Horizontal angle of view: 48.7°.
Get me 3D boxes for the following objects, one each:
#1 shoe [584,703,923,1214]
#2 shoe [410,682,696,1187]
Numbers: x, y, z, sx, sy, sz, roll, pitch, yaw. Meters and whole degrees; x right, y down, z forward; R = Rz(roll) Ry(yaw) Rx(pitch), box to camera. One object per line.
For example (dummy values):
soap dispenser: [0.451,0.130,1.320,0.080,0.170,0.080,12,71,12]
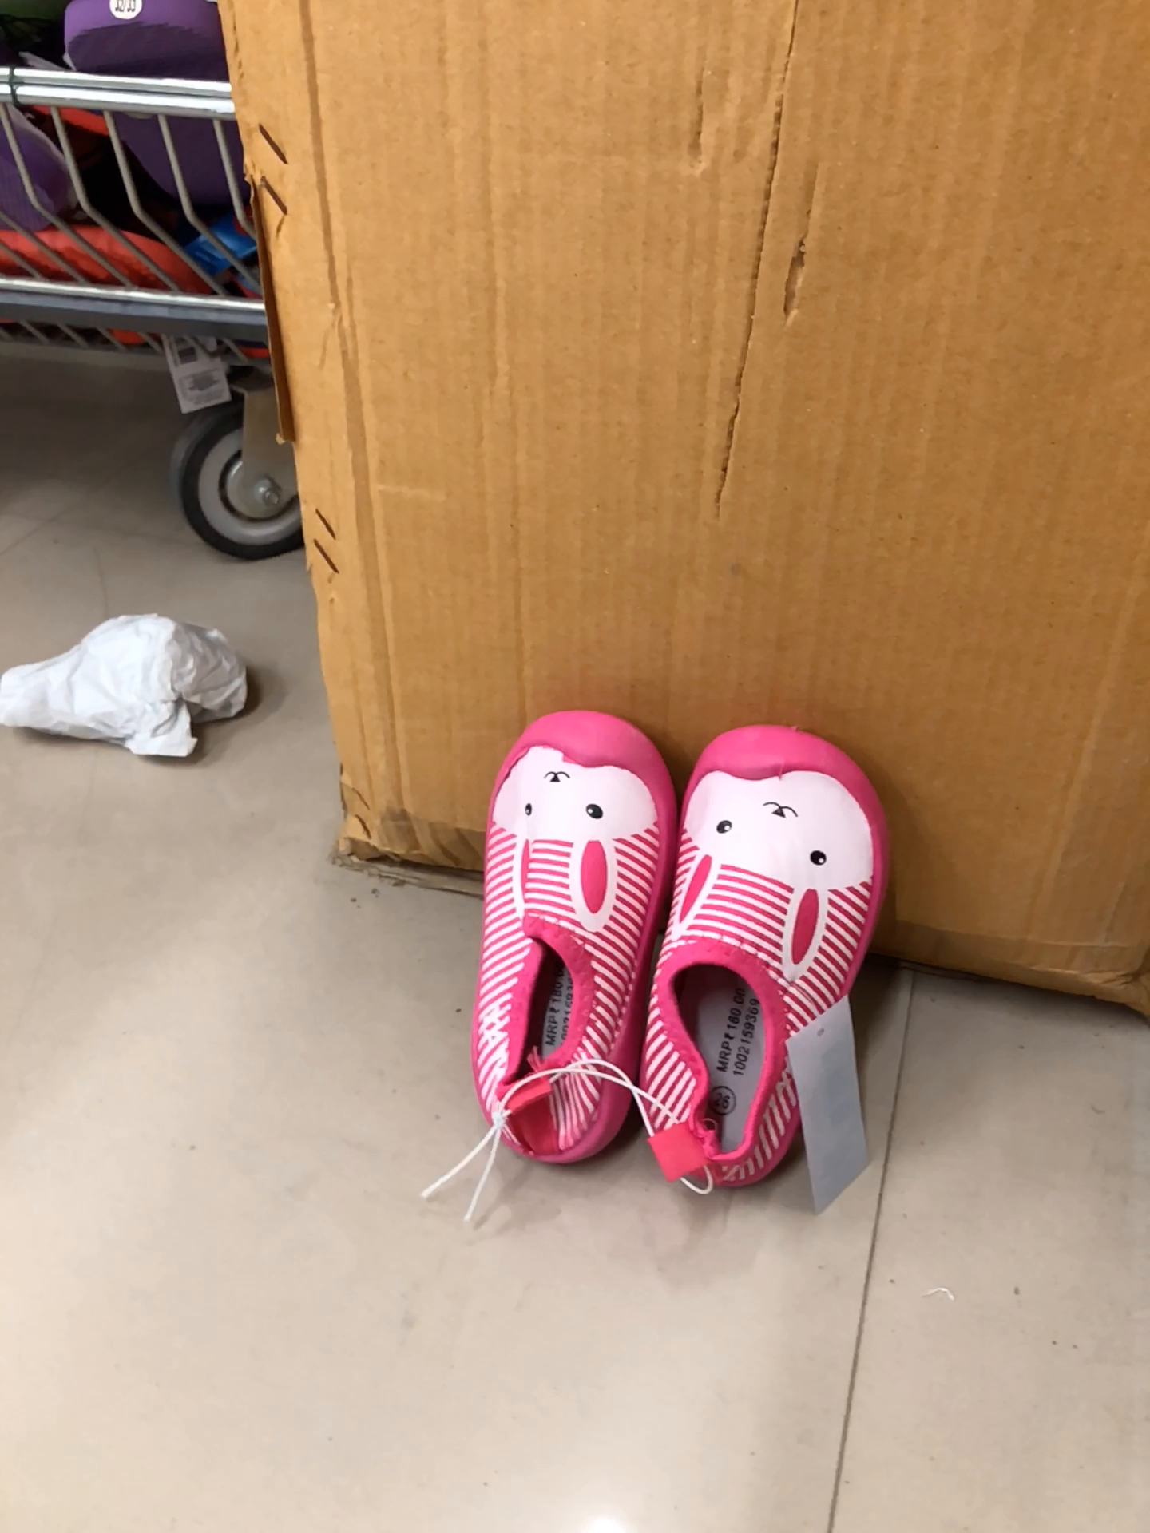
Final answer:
shoe: [0.067,0.065,0.441,0.069,0.082,0.148,11,81,22]
shoe: [-0.002,0.058,0.453,0.069,0.082,0.157,5,79,11]
